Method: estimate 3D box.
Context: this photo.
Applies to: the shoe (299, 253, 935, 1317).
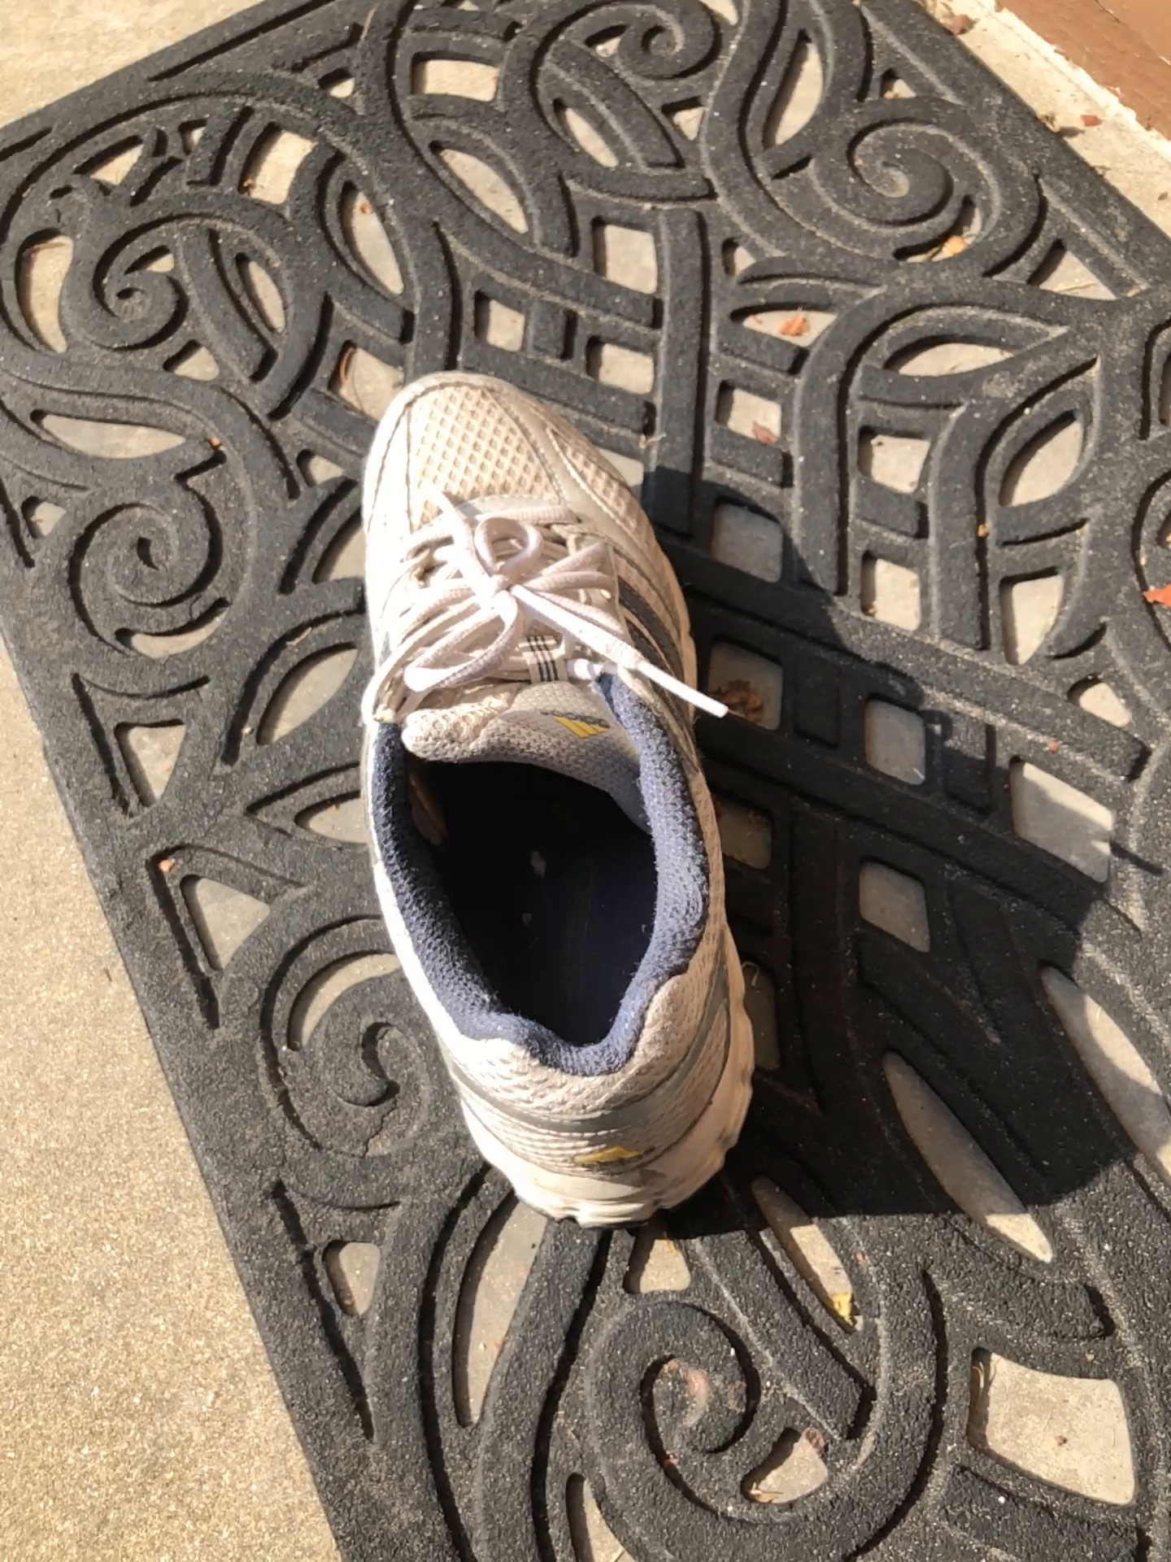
[{"bbox_3d":[0.002,0.003,0.377,0.110,0.130,0.260,-13,64,3],"label":"shoe"}]
